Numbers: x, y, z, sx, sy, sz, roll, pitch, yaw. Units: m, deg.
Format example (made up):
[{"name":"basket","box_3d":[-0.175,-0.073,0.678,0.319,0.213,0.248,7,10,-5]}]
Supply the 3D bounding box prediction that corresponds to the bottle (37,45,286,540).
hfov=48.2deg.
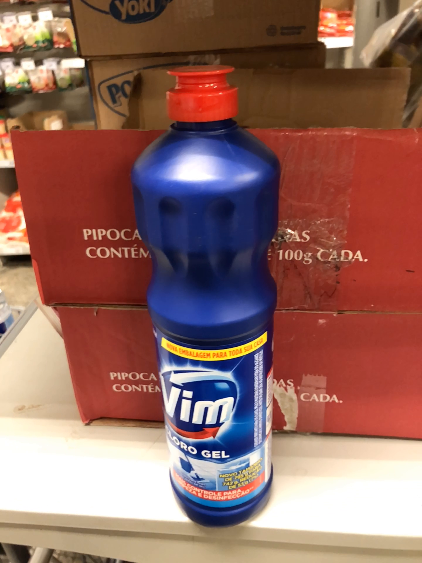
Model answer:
[{"name":"bottle","box_3d":[-0.007,0.017,0.229,0.070,0.228,0.060,7,32,22]}]
